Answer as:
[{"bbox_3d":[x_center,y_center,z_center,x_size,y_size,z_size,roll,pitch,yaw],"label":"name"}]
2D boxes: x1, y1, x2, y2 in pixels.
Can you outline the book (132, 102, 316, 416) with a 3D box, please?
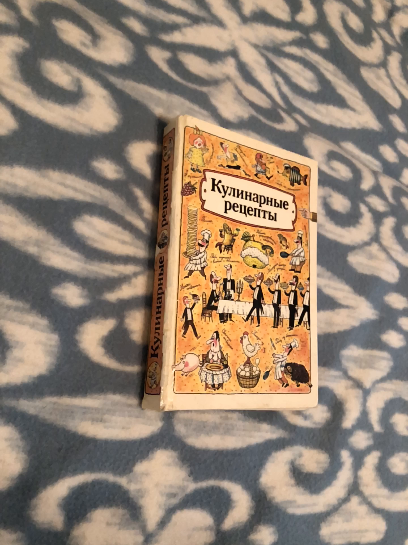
[{"bbox_3d":[0.024,-0.005,0.358,0.142,0.032,0.220,9,77,-29],"label":"book"}]
